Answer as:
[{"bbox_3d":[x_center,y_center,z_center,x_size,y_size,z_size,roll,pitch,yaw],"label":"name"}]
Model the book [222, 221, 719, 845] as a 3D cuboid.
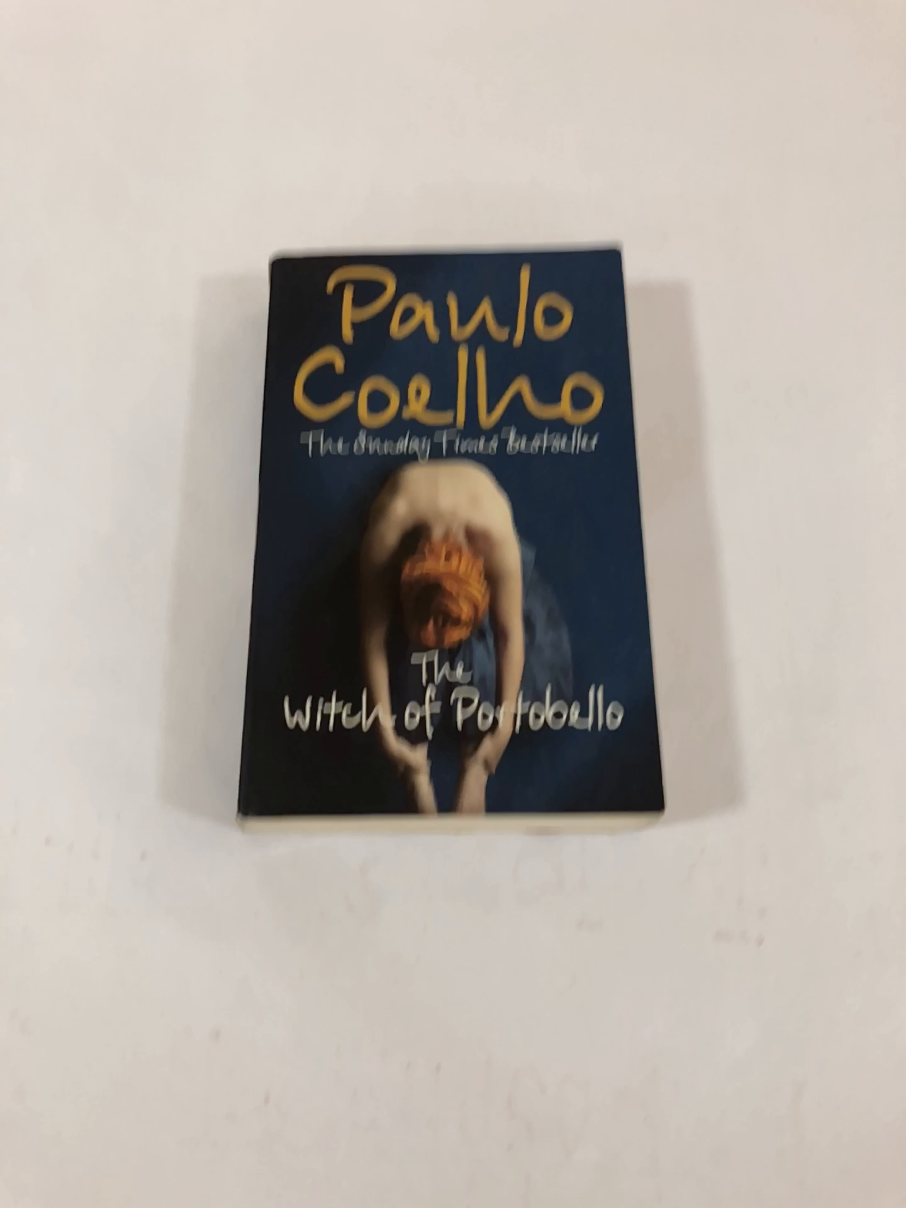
[{"bbox_3d":[0.004,-0.025,0.289,0.120,0.030,0.180,-1,70,0],"label":"book"}]
